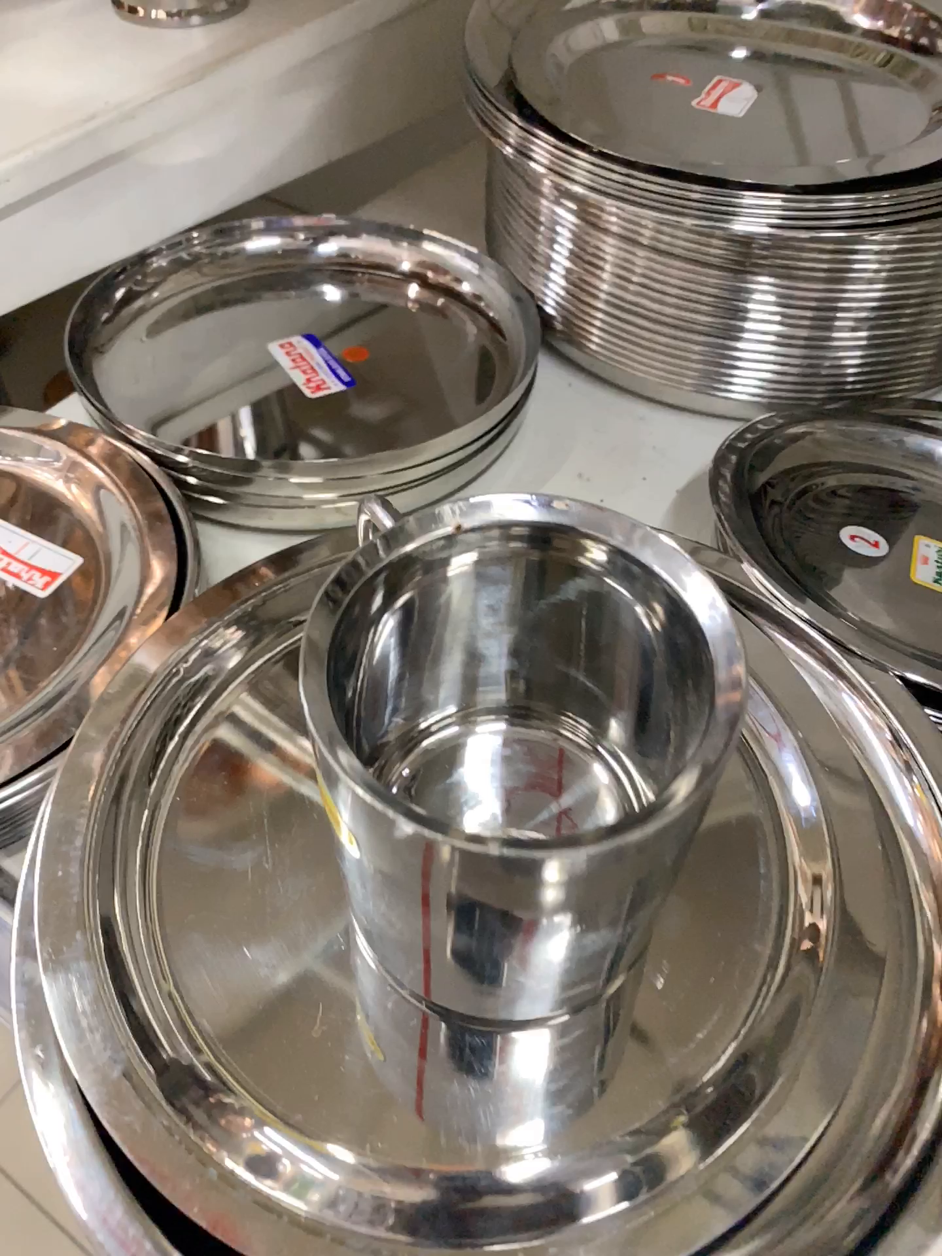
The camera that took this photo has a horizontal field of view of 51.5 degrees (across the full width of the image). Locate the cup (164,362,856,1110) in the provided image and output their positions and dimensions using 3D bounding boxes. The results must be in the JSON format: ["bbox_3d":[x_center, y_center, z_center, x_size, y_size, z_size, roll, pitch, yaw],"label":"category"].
[{"bbox_3d":[0.001,0.020,0.214,0.080,0.090,0.110,-25,54,-20],"label":"cup"}]
